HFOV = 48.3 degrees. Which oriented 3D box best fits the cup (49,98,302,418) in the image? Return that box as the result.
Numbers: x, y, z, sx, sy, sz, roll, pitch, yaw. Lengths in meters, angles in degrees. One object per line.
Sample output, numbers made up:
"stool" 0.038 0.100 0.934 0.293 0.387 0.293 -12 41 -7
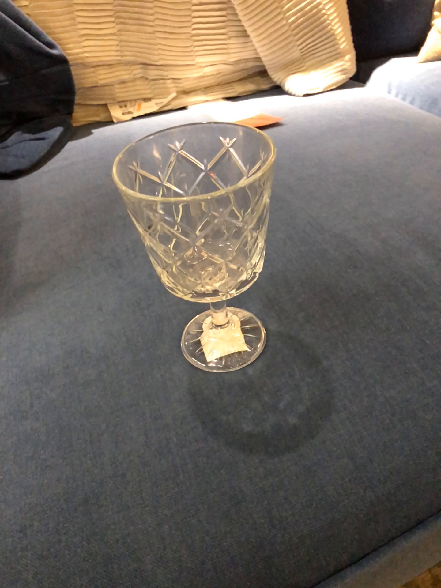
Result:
"cup" -0.018 -0.022 0.290 0.090 0.139 0.090 -4 42 3
